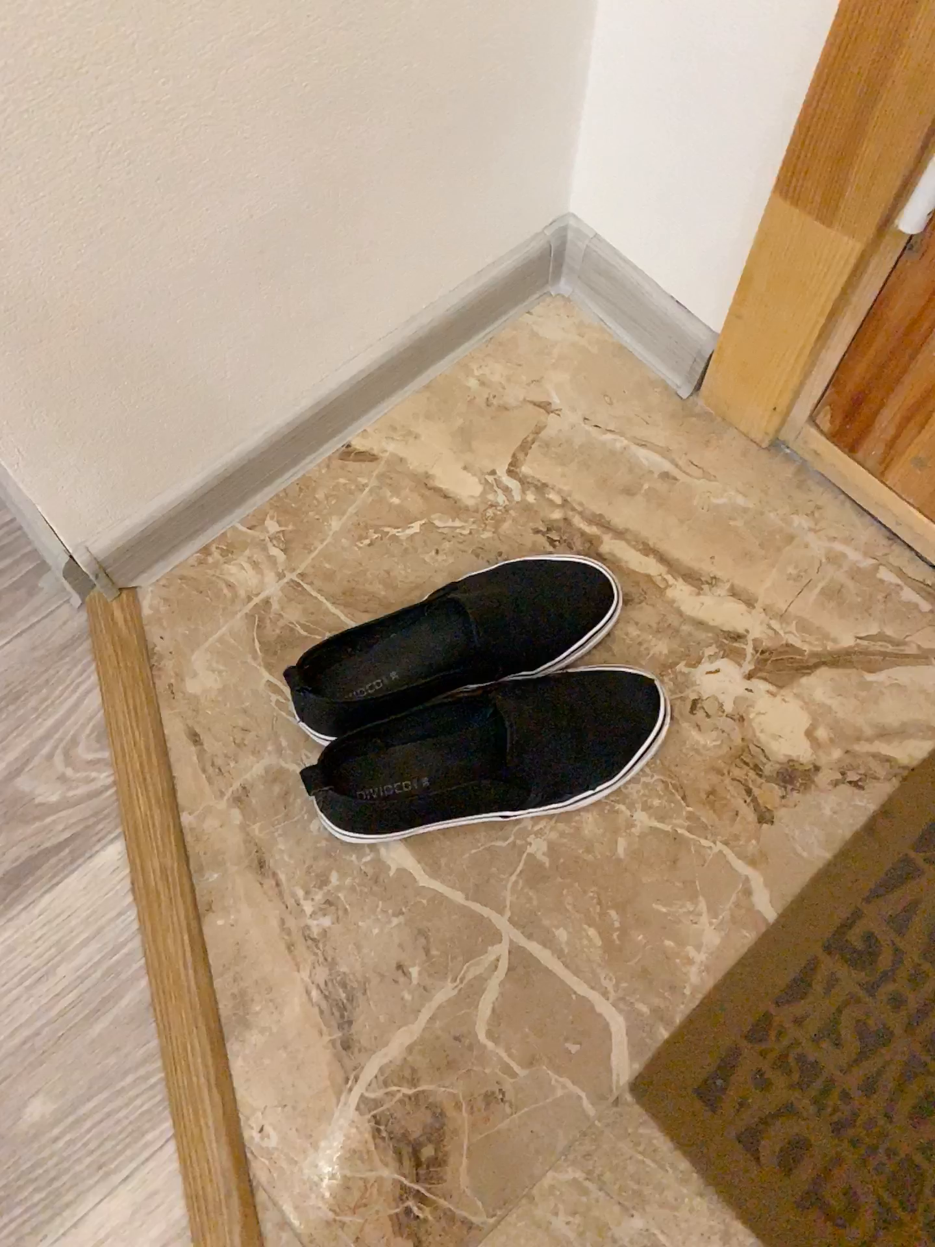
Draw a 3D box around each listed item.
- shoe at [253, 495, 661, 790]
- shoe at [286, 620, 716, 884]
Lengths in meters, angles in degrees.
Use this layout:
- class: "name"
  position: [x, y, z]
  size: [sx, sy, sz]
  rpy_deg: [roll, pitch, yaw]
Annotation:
- class: "shoe"
  position: [-0.006, 0.011, 0.648]
  size: [0.250, 0.060, 0.090]
  rpy_deg: [-24, 68, -11]
- class: "shoe"
  position: [0.020, 0.082, 0.618]
  size: [0.250, 0.060, 0.090]
  rpy_deg: [-15, 67, -7]
